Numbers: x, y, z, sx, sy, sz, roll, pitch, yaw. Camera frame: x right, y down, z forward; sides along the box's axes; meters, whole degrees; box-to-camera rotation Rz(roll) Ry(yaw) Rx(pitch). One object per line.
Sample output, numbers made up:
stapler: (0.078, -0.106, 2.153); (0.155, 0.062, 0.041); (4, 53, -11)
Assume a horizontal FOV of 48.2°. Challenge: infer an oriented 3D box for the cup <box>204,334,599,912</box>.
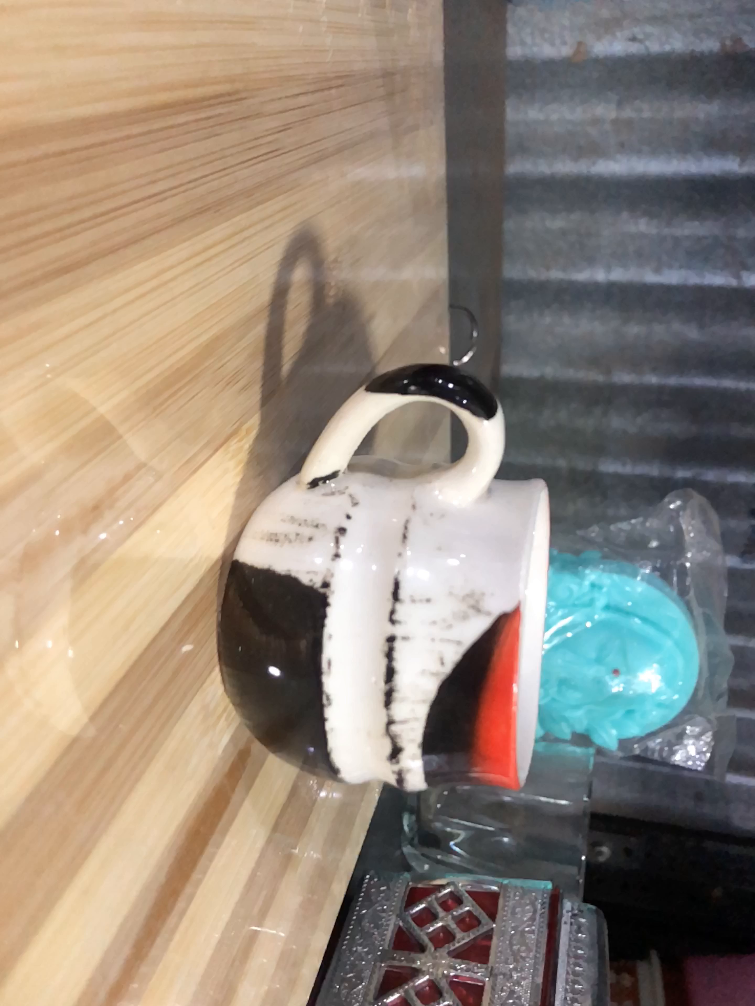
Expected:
cup: (0.011, 0.013, 0.174); (0.080, 0.060, 0.090); (-42, 134, -71)
